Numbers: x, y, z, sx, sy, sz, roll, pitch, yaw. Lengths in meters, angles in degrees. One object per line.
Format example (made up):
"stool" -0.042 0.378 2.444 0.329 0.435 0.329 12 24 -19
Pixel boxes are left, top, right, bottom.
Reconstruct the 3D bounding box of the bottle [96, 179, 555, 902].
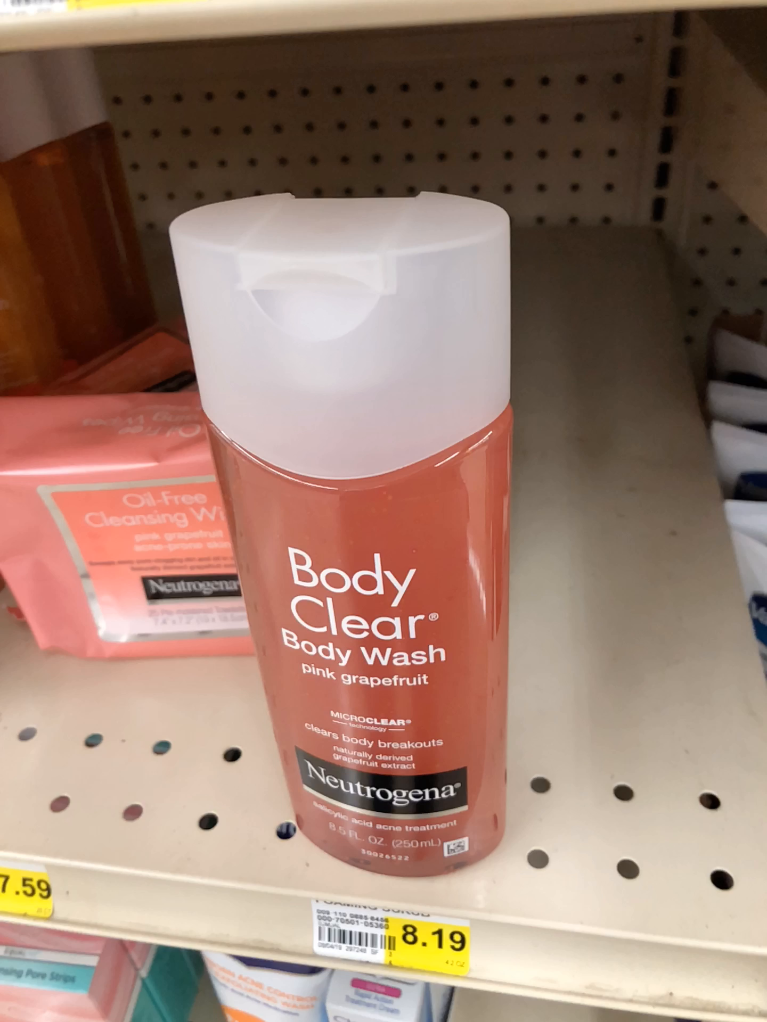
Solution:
"bottle" -0.001 0.025 0.200 0.070 0.190 0.030 4 40 12
